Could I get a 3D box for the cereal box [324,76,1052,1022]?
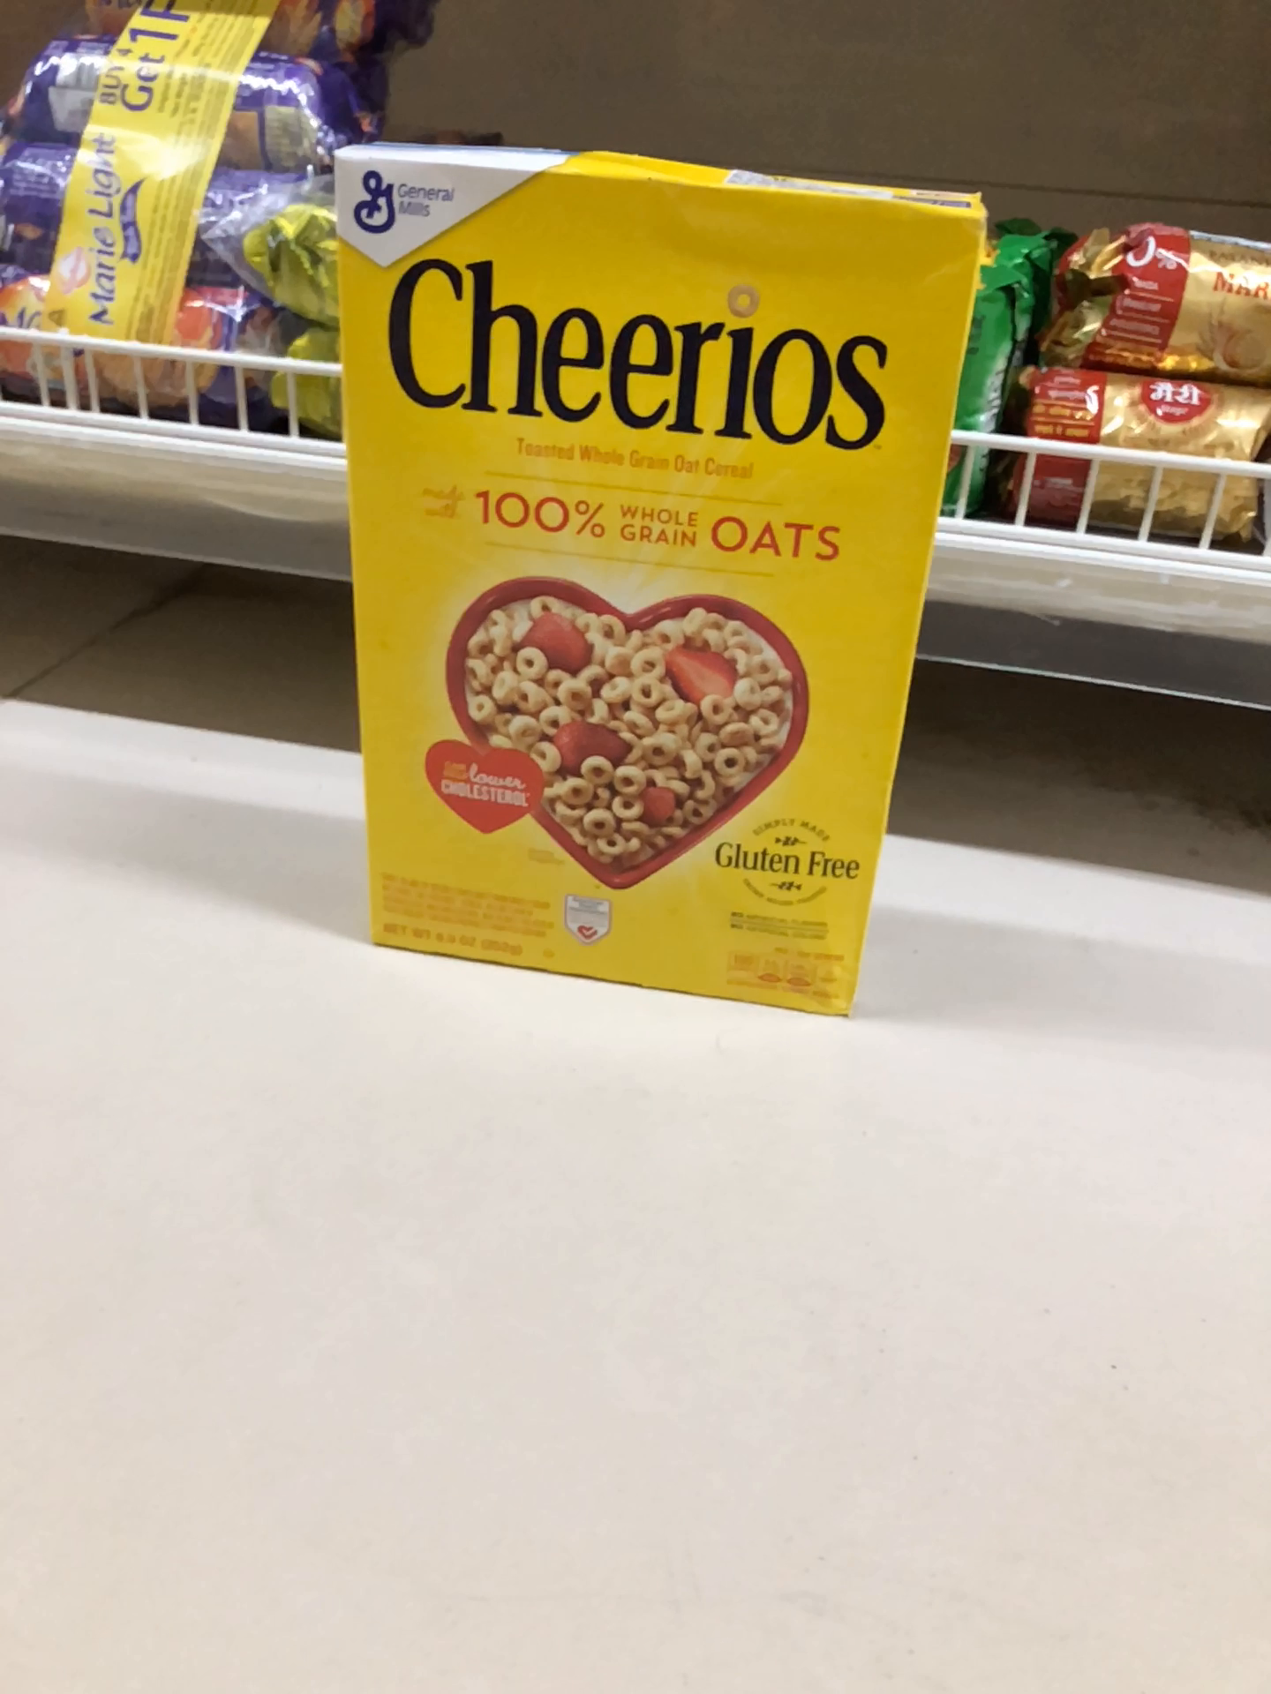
[{"bbox_3d":[0.008,-0.090,0.479,0.200,0.288,0.060,8,30,7],"label":"cereal box"}]
